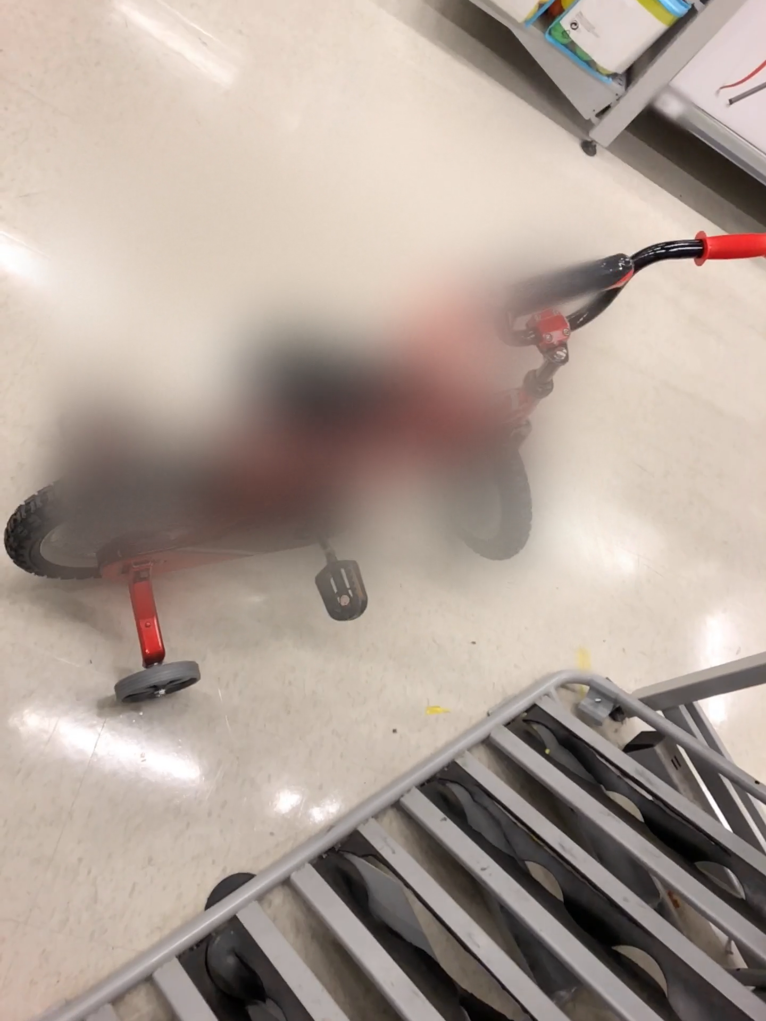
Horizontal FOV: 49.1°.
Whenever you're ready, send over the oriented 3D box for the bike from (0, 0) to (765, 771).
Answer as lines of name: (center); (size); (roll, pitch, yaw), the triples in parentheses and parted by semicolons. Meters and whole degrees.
bike: (-0.054, -0.155, 1.010); (0.700, 0.679, 0.532); (-20, 78, -36)
